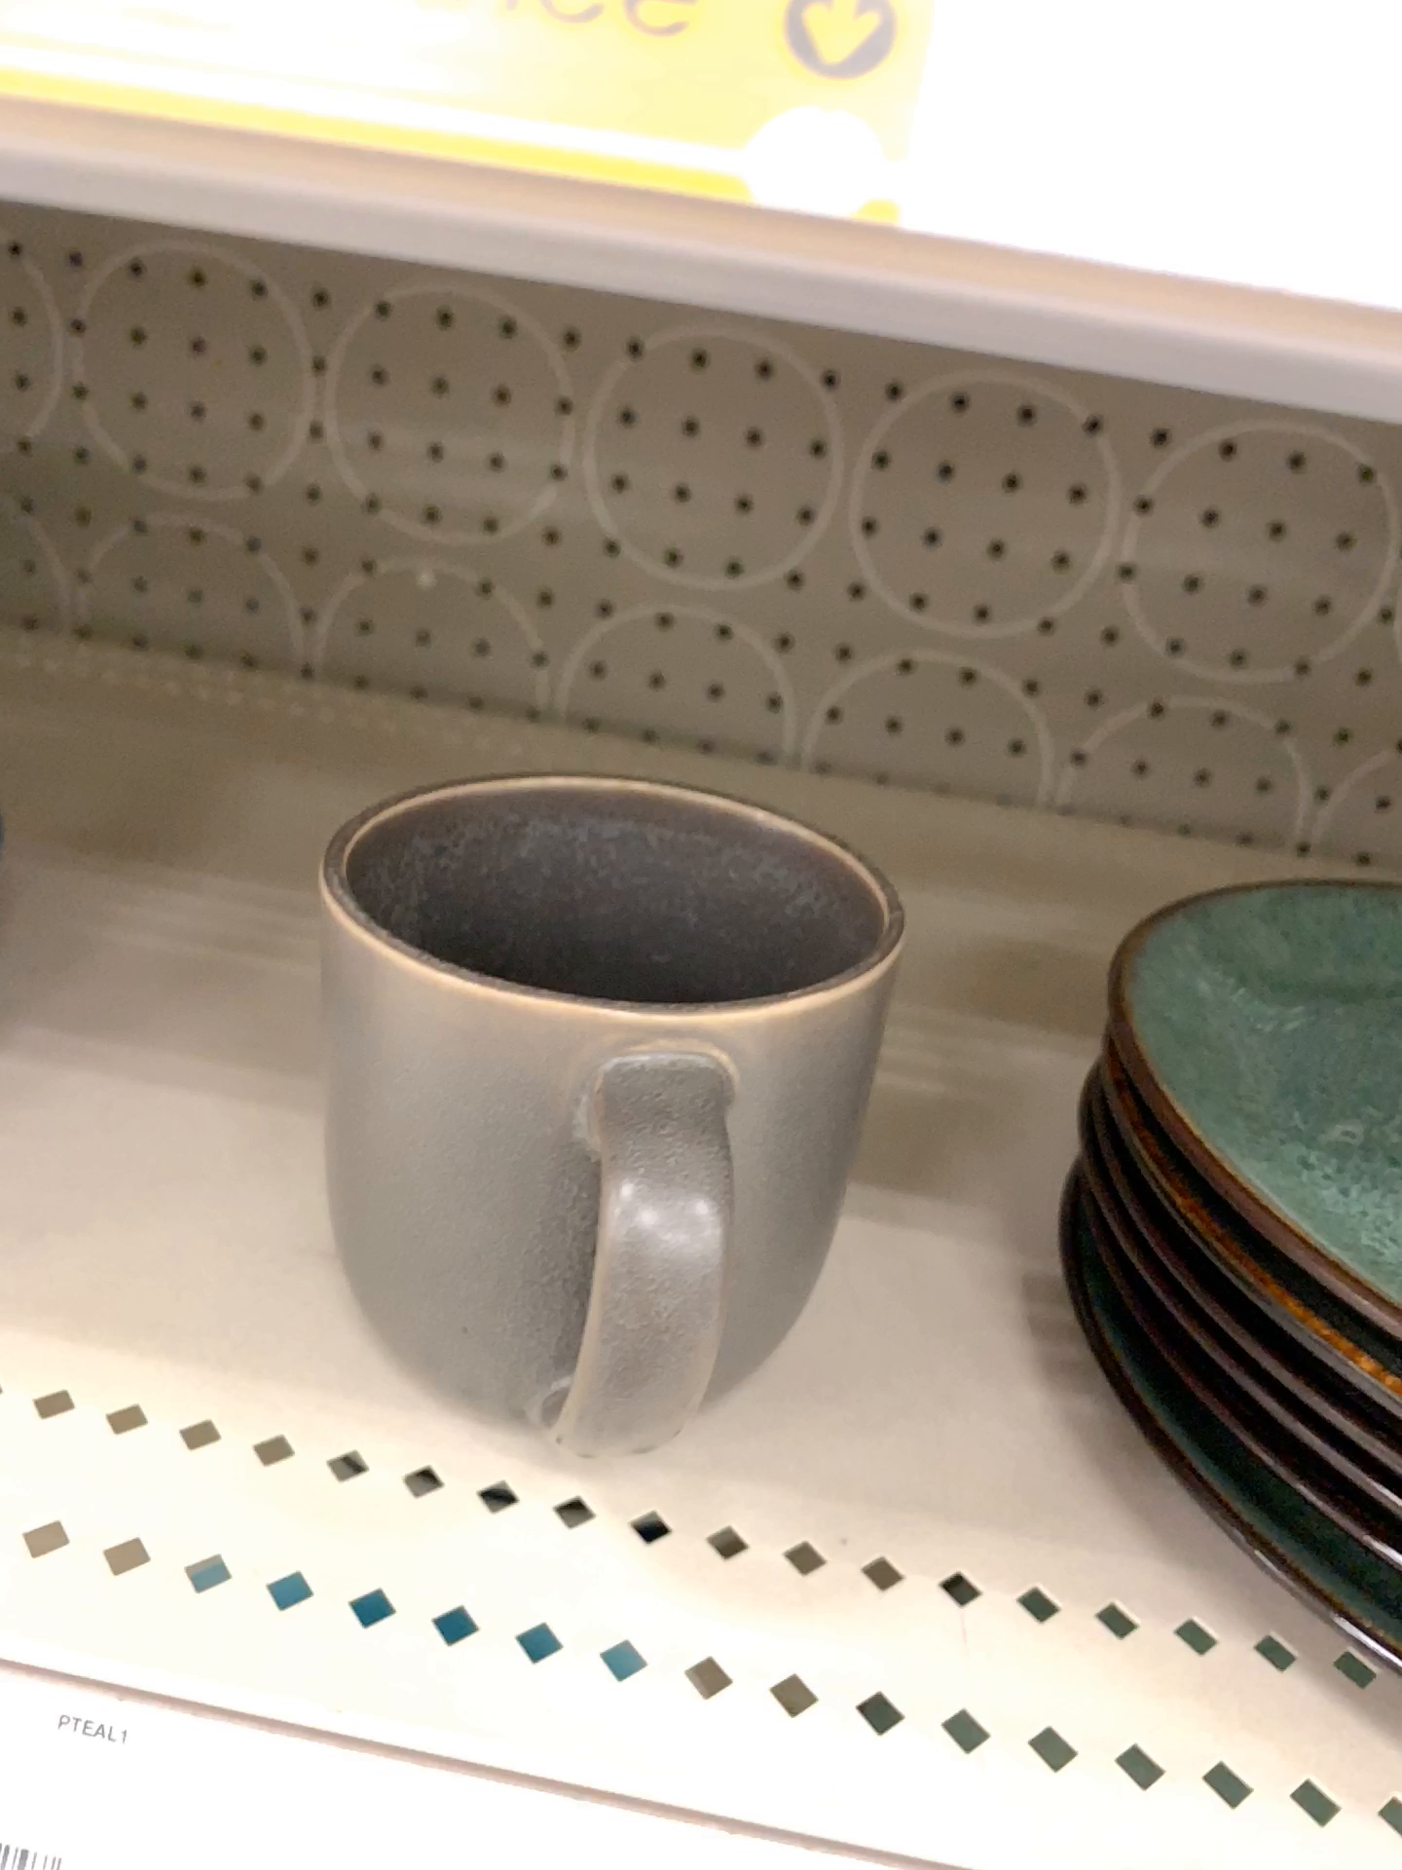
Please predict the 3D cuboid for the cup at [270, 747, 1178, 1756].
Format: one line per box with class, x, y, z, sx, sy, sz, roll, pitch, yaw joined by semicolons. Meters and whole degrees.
cup;-0.014;0.034;0.230;0.100;0.080;0.131;1;27;-16
